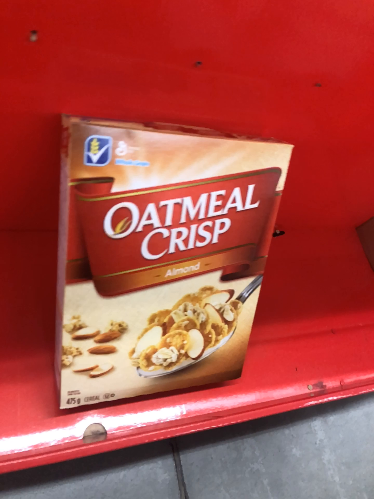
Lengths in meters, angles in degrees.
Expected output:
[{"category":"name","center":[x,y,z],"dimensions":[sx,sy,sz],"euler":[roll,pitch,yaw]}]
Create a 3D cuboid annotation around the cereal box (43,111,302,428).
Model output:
[{"category":"cereal box","center":[-0.023,0.021,0.401],"dimensions":[0.210,0.269,0.070],"euler":[-1,22,-26]}]
